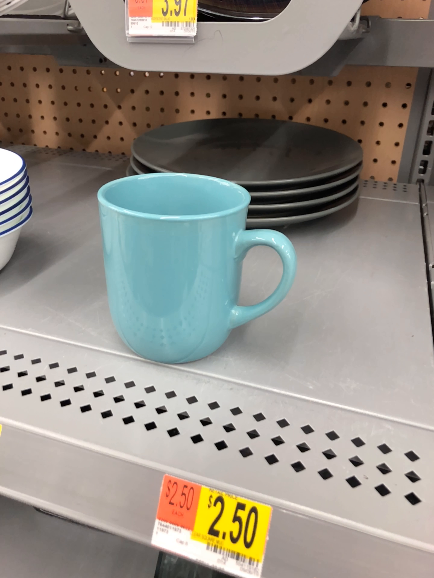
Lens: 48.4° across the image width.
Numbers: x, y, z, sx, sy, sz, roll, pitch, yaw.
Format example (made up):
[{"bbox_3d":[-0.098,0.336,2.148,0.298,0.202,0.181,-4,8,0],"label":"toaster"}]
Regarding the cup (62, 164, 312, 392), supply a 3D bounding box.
[{"bbox_3d":[-0.011,-0.014,0.290,0.114,0.091,0.091,9,29,15],"label":"cup"}]
